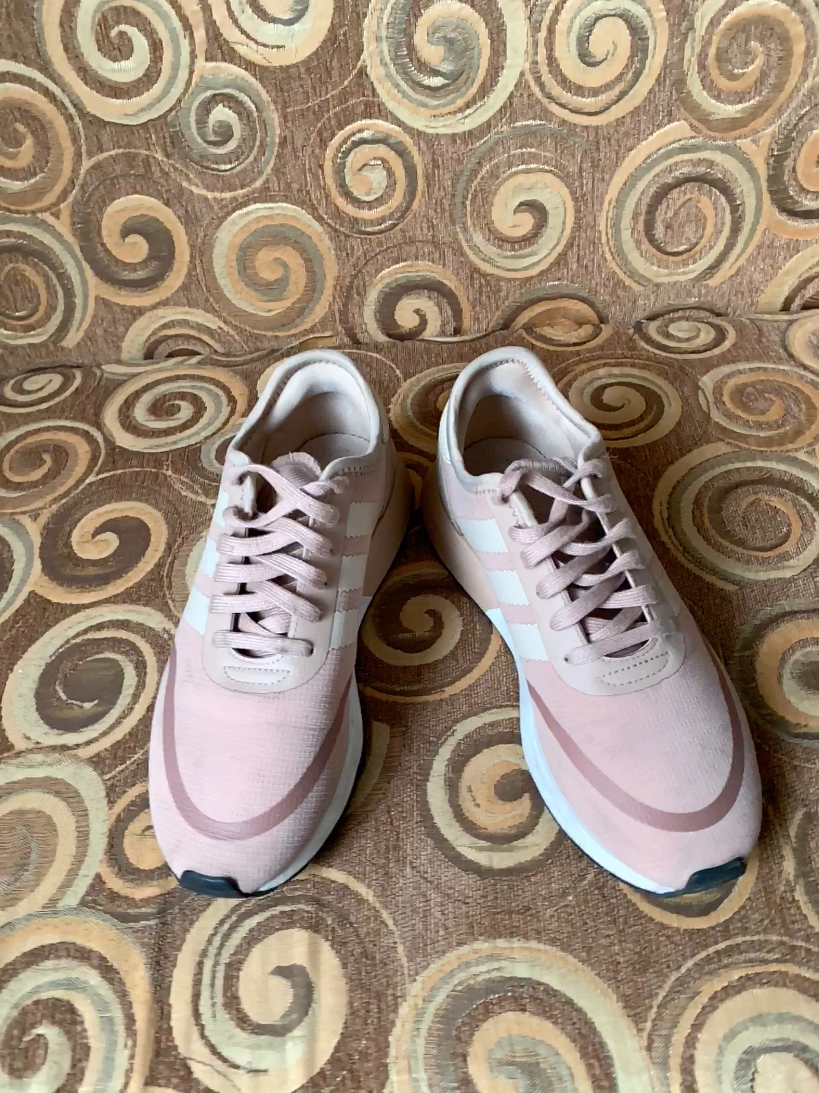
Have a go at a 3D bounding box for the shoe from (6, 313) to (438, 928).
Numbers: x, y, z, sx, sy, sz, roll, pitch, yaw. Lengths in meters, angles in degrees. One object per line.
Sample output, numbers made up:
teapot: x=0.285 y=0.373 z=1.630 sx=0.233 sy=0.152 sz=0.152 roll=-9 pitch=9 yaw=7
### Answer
shoe: x=-0.058 y=0.018 z=0.374 sx=0.100 sy=0.090 sz=0.251 roll=6 pitch=56 yaw=9

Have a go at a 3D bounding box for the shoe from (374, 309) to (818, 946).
shoe: x=0.079 y=0.021 z=0.371 sx=0.100 sy=0.090 sz=0.251 roll=-20 pitch=56 yaw=-8
